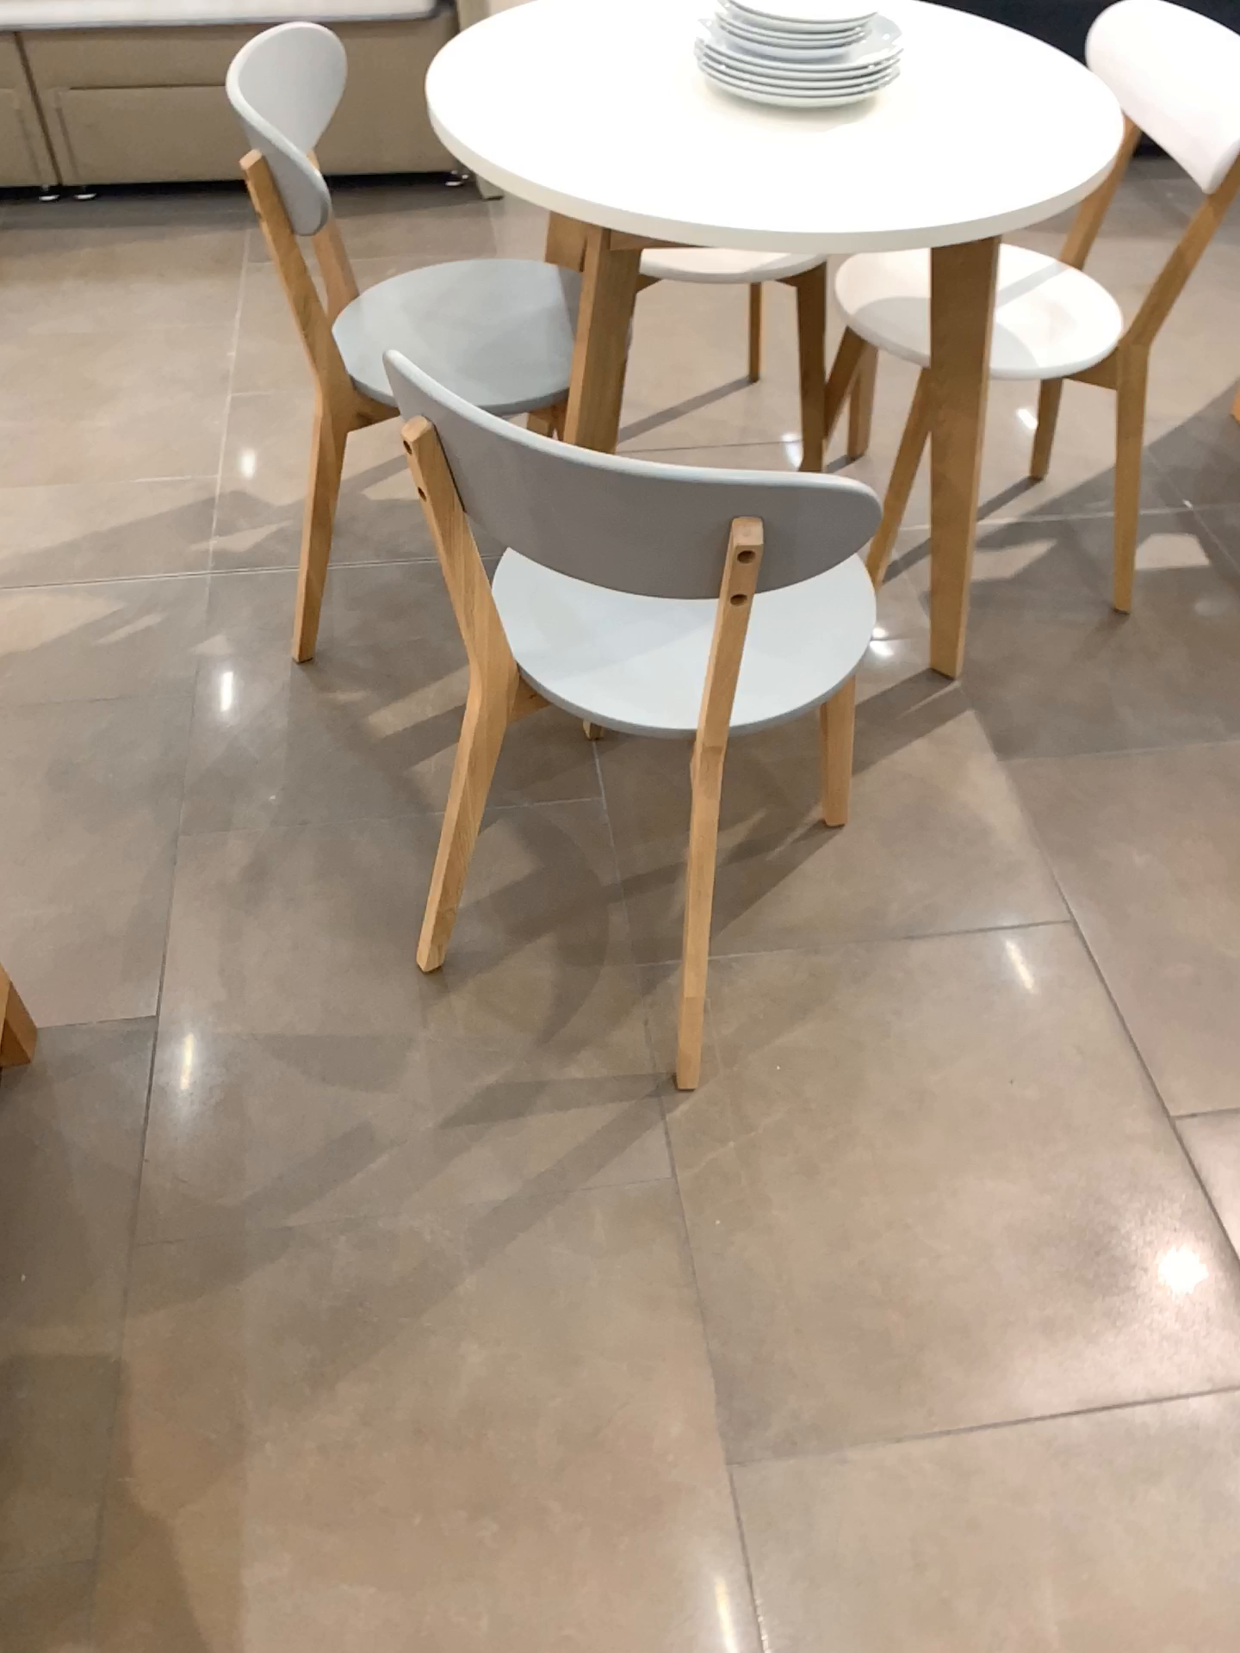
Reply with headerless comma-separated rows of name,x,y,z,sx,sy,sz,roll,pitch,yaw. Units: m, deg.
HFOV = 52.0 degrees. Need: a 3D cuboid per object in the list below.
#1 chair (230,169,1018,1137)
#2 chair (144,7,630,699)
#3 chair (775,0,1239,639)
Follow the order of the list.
chair,0.023,-0.173,1.420,0.520,0.799,0.534,20,50,16
chair,-0.299,-0.683,1.899,0.540,0.799,0.524,-5,48,-6
chair,0.603,-0.788,1.996,0.540,0.799,0.524,-4,48,-5
